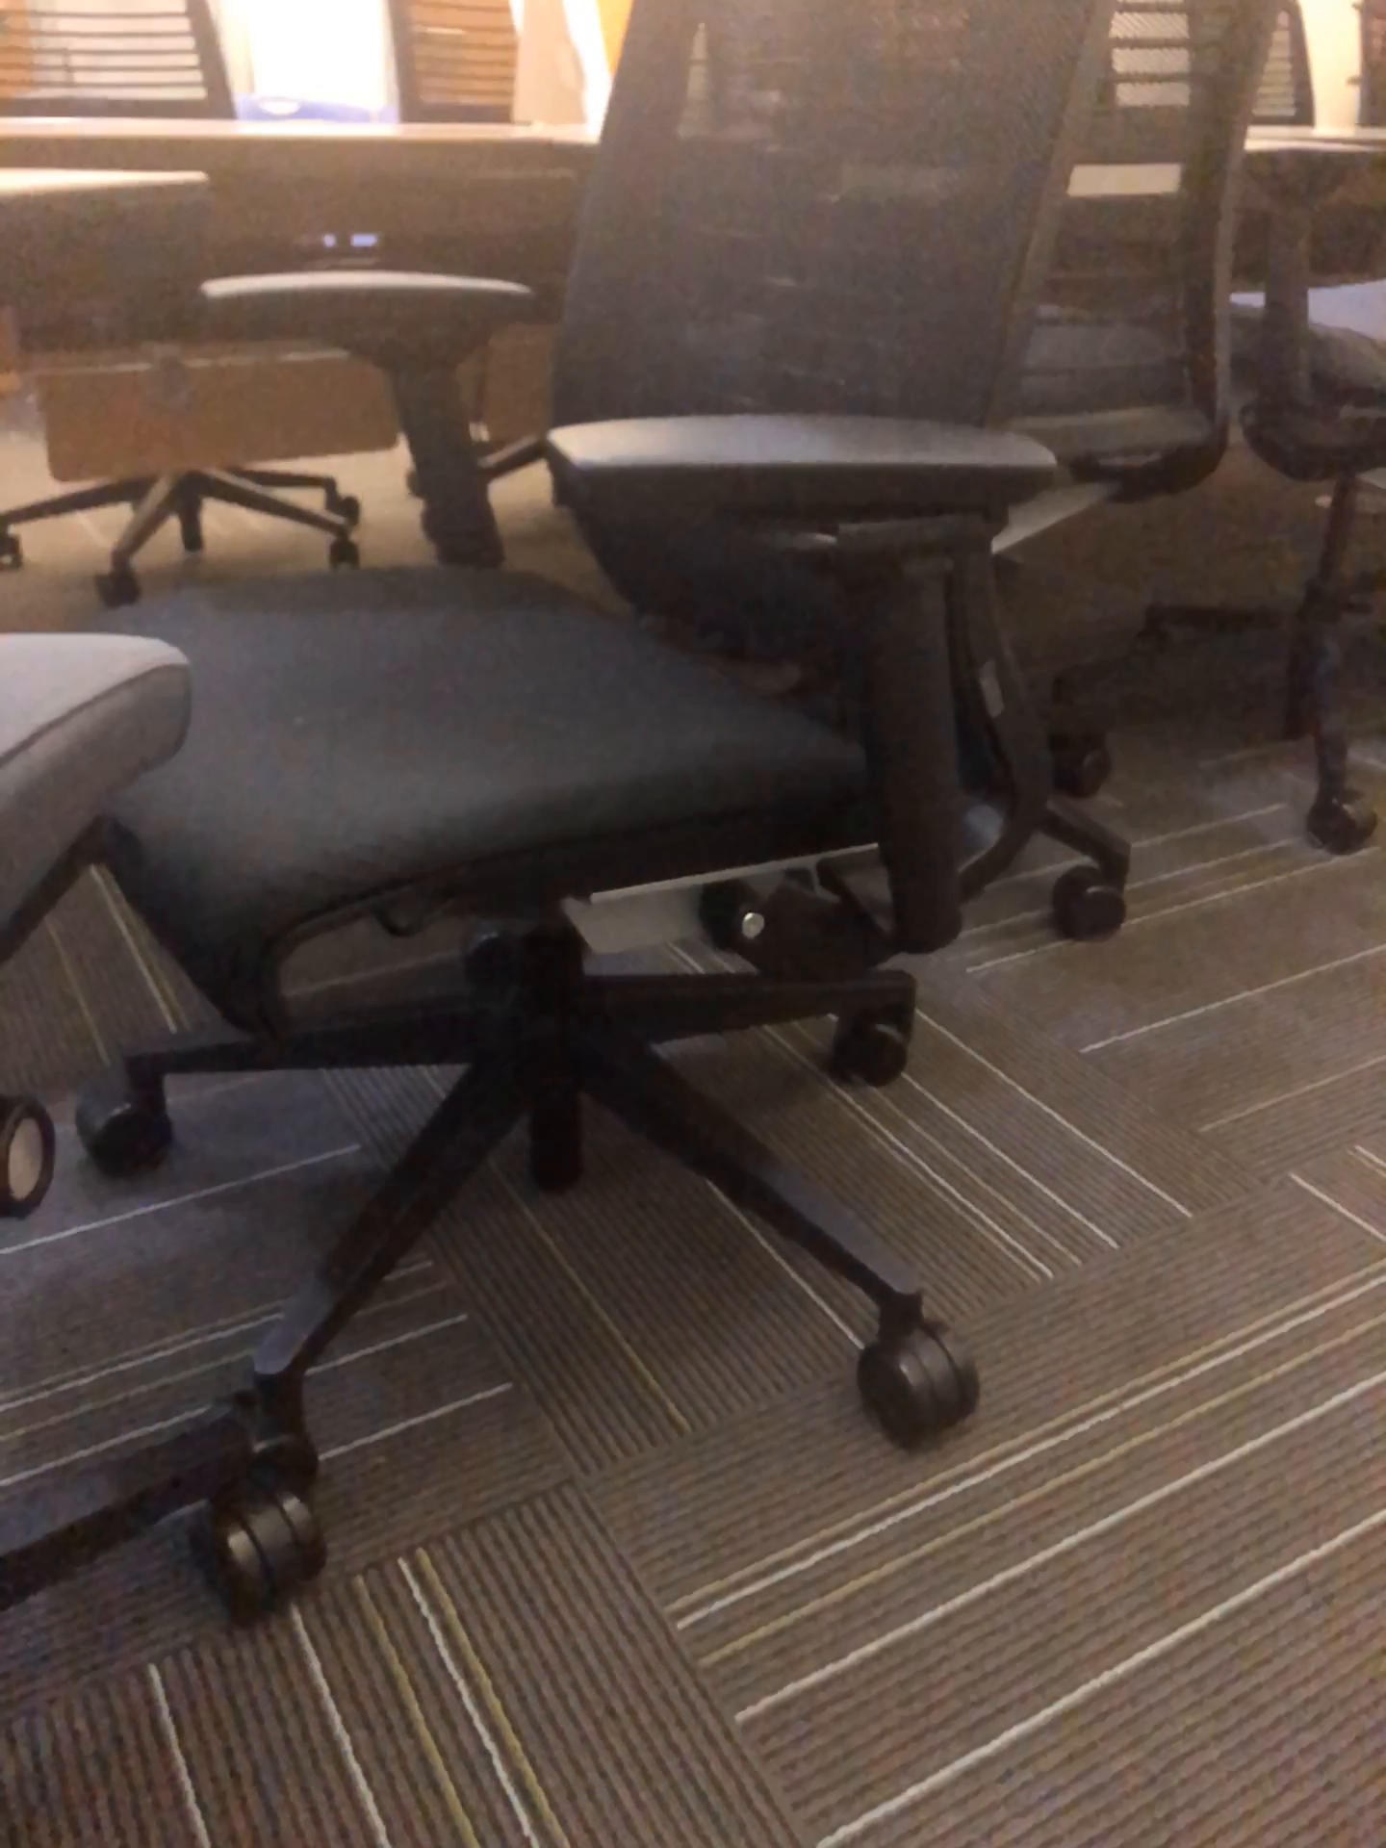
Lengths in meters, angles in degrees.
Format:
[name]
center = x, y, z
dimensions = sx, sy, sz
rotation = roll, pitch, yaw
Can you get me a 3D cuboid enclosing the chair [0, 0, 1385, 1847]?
[chair]
center = -0.133, -0.191, 1.002
dimensions = 0.733, 0.993, 0.722
rotation = -15, 29, -27
